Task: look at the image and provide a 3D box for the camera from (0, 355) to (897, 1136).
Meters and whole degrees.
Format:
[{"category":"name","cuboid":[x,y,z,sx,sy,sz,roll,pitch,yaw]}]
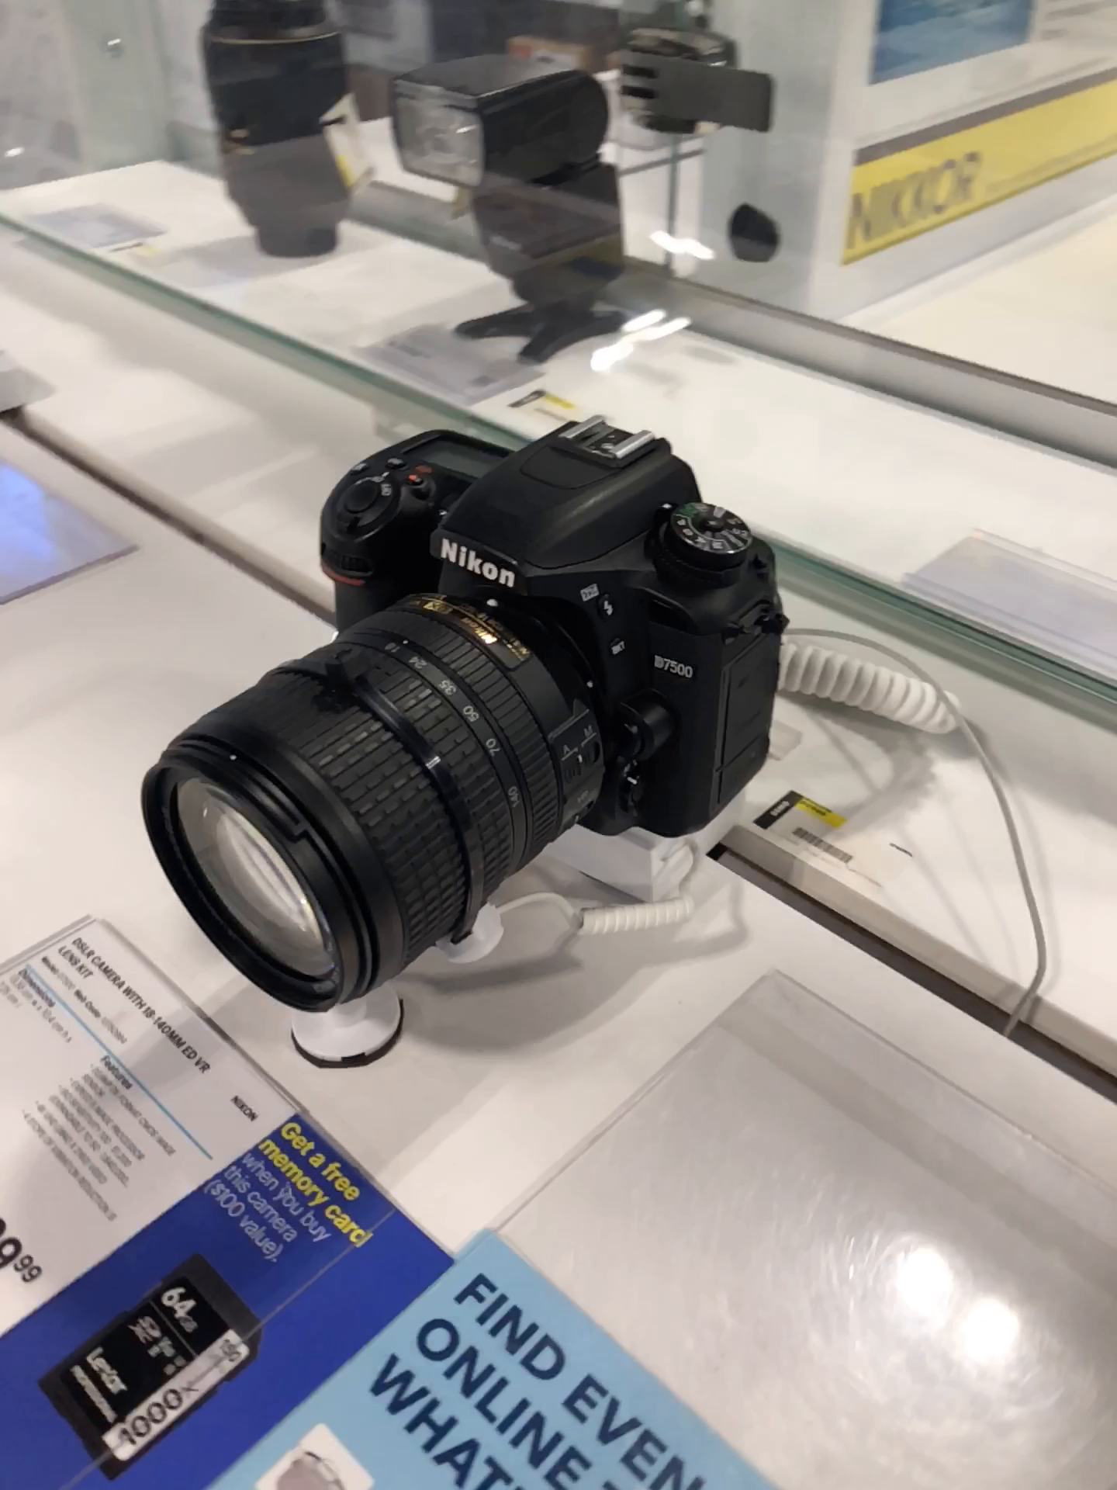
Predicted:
[{"category":"camera","cuboid":[-0.021,-0.021,0.342,0.141,0.089,0.191,27,45,30]}]
